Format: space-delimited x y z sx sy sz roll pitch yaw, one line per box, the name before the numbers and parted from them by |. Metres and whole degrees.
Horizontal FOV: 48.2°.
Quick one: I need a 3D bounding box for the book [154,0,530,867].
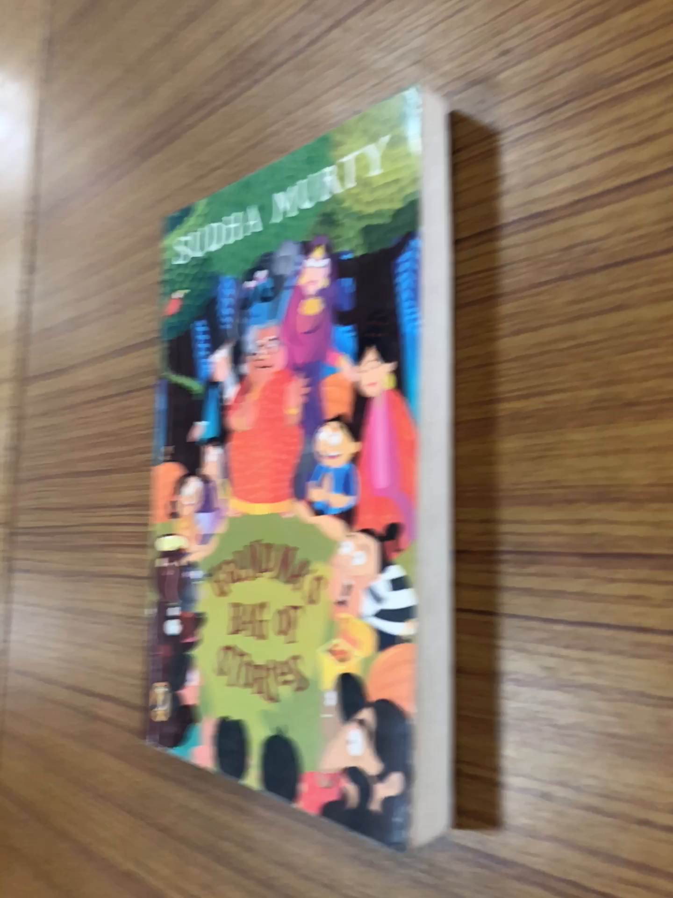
book | -0.007 -0.004 0.237 0.131 0.030 0.210 -7 80 46
